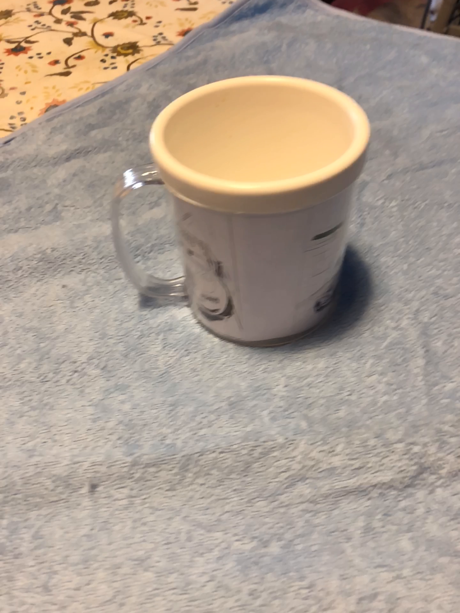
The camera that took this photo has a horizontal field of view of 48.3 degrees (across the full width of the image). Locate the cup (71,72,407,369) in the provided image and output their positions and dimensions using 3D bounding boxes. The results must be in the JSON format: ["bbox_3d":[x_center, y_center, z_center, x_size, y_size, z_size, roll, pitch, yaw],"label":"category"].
[{"bbox_3d":[0.003,-0.040,0.250,0.120,0.099,0.091,-4,49,0],"label":"cup"}]
